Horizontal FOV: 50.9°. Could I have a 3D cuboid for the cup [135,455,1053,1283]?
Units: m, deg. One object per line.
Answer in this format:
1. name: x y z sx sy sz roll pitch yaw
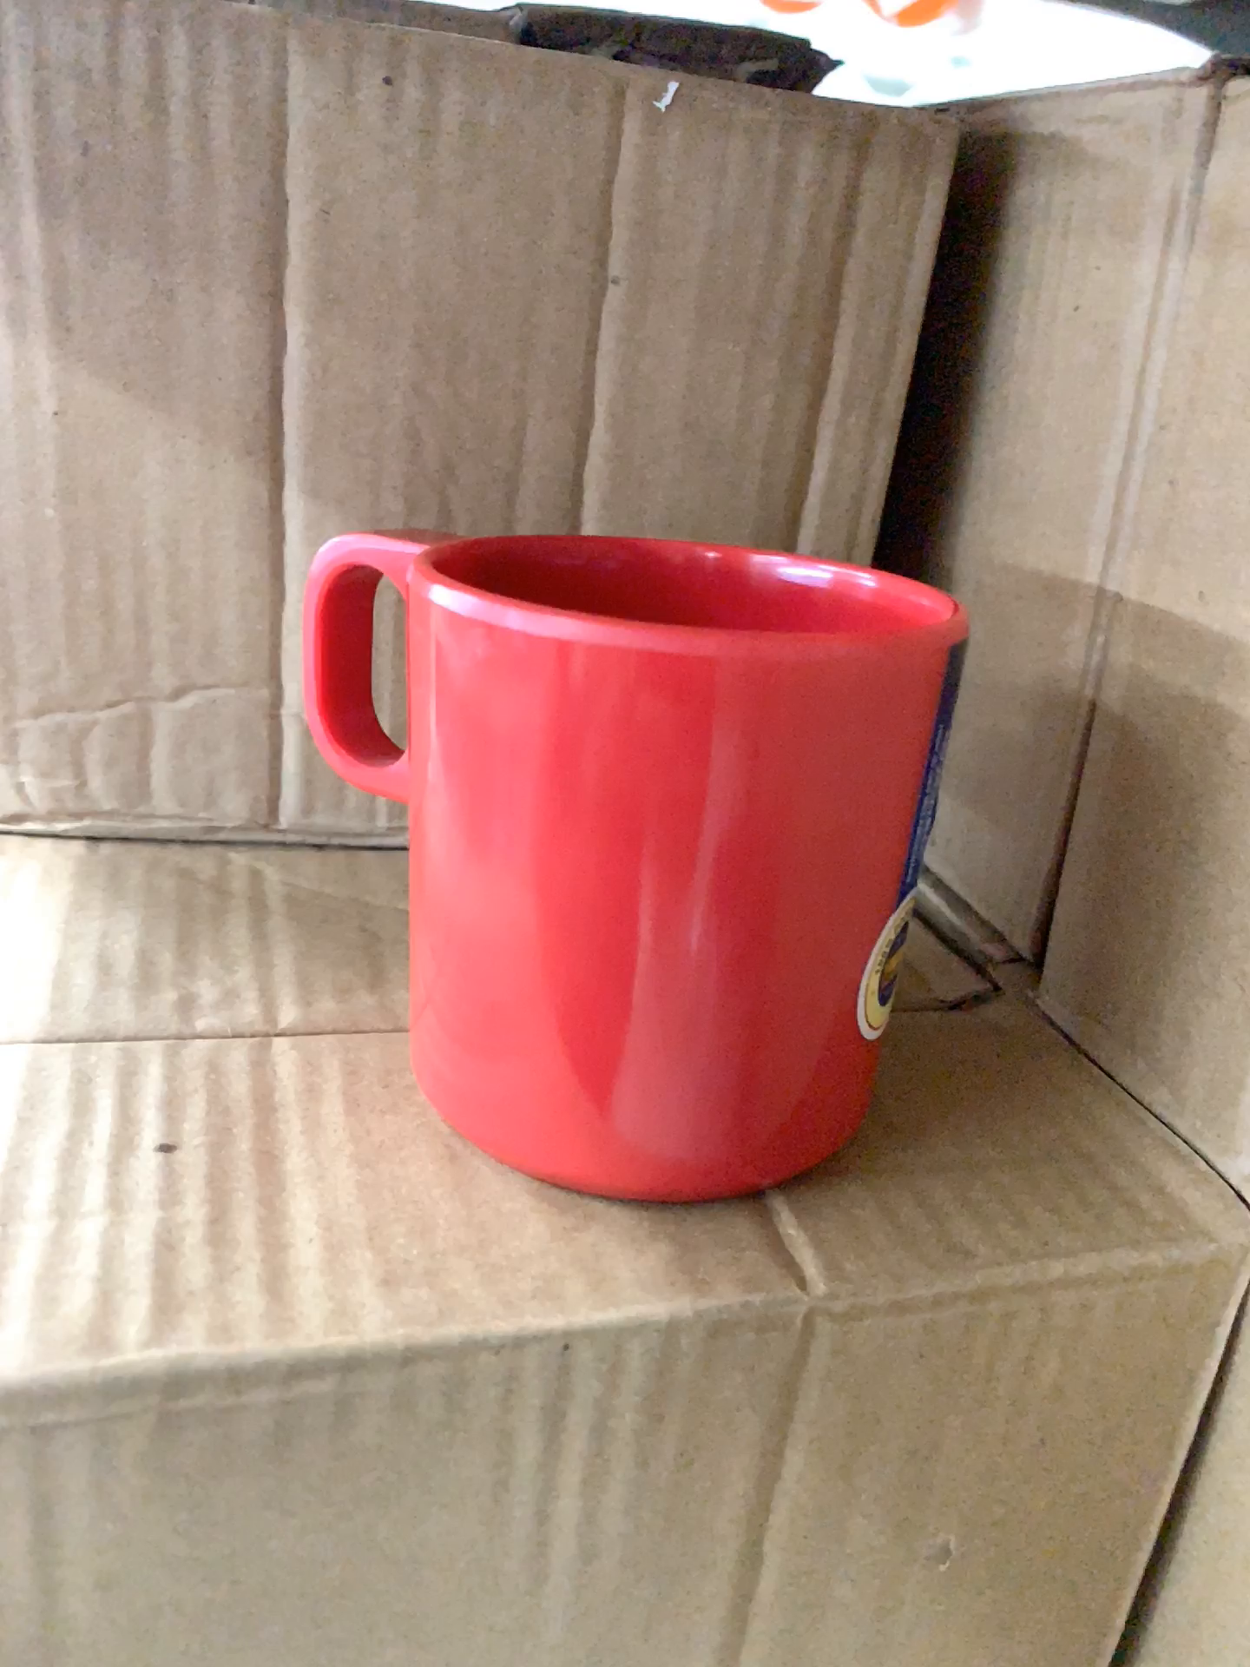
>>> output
1. cup: -0.009 -0.008 0.199 0.110 0.079 0.070 20 26 33
